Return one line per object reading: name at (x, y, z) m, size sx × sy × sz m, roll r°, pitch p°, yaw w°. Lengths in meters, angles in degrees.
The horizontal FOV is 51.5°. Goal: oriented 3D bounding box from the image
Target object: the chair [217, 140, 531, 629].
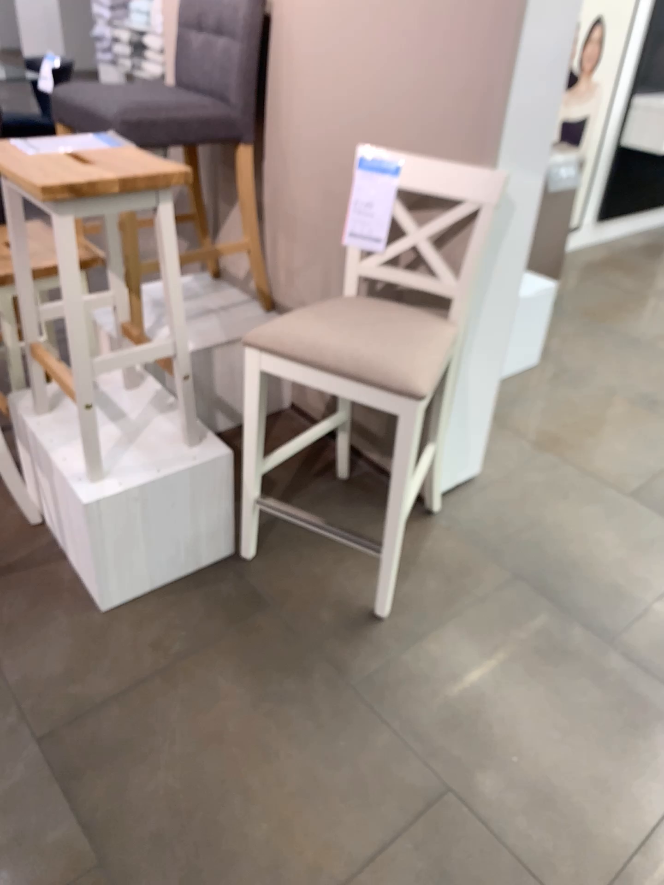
chair at (0.083, -0.151, 1.644) m, size 0.450 × 0.938 × 0.541 m, roll 19°, pitch 36°, yaw 22°
